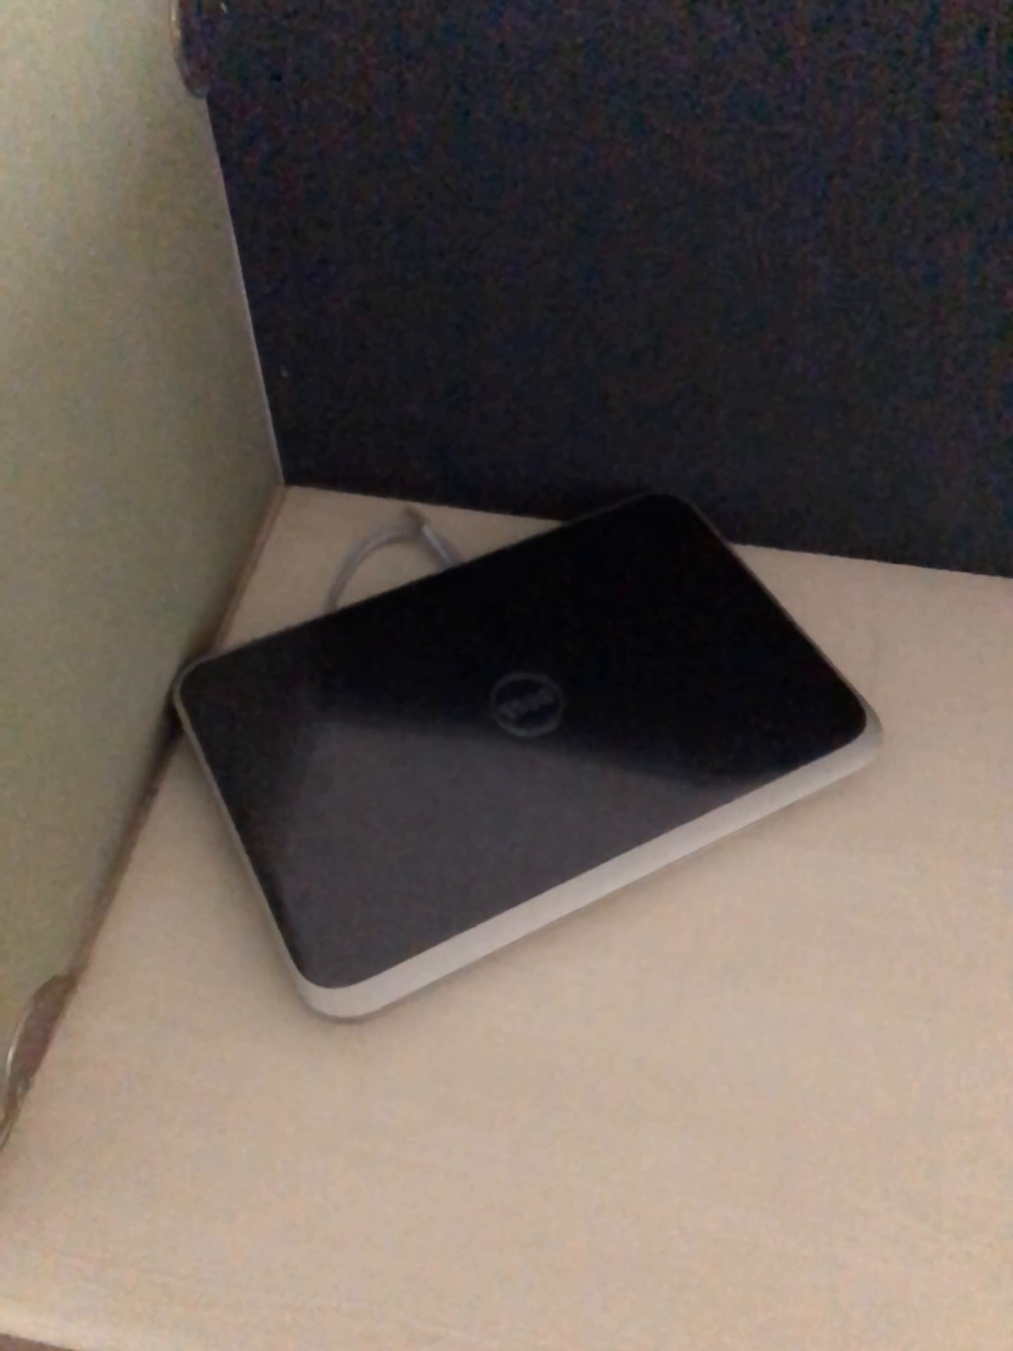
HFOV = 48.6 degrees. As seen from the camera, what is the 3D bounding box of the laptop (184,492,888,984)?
[{"bbox_3d":[0.011,0.017,0.726,0.372,0.010,0.246,-22,55,-14],"label":"laptop"}]
